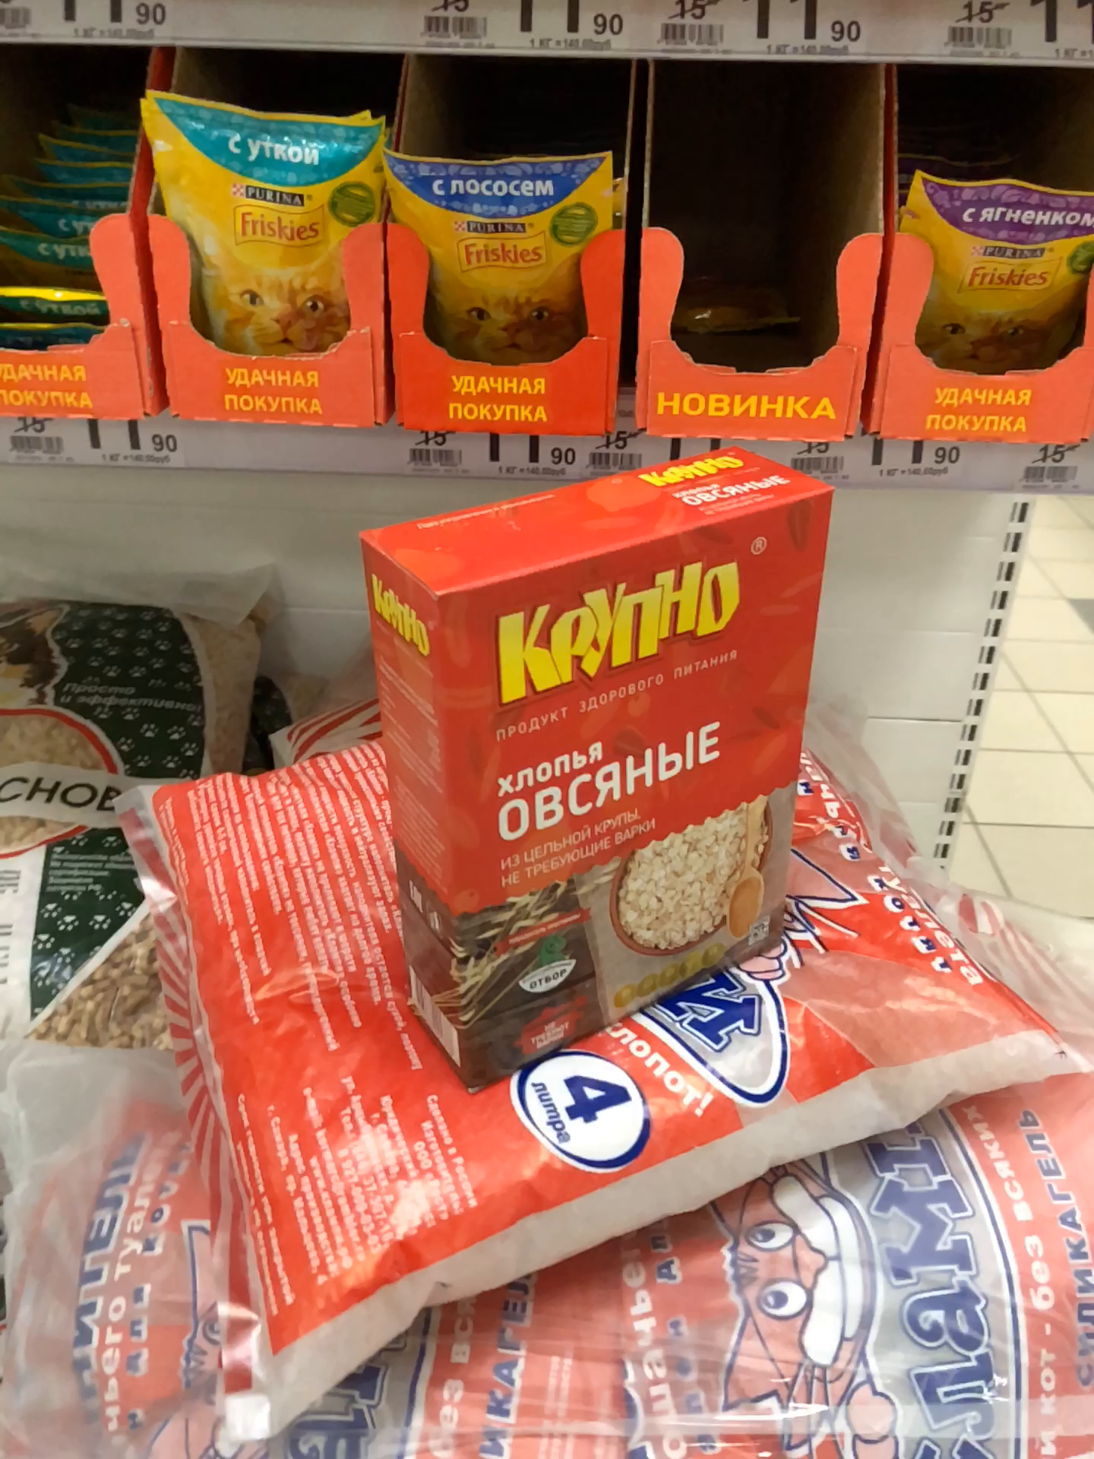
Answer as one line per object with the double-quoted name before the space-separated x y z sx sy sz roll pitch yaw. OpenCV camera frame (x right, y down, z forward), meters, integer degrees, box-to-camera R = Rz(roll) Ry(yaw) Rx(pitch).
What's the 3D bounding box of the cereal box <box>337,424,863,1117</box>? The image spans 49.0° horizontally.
"cereal box" 0.018 0.013 0.412 0.150 0.199 0.060 -17 36 -27
